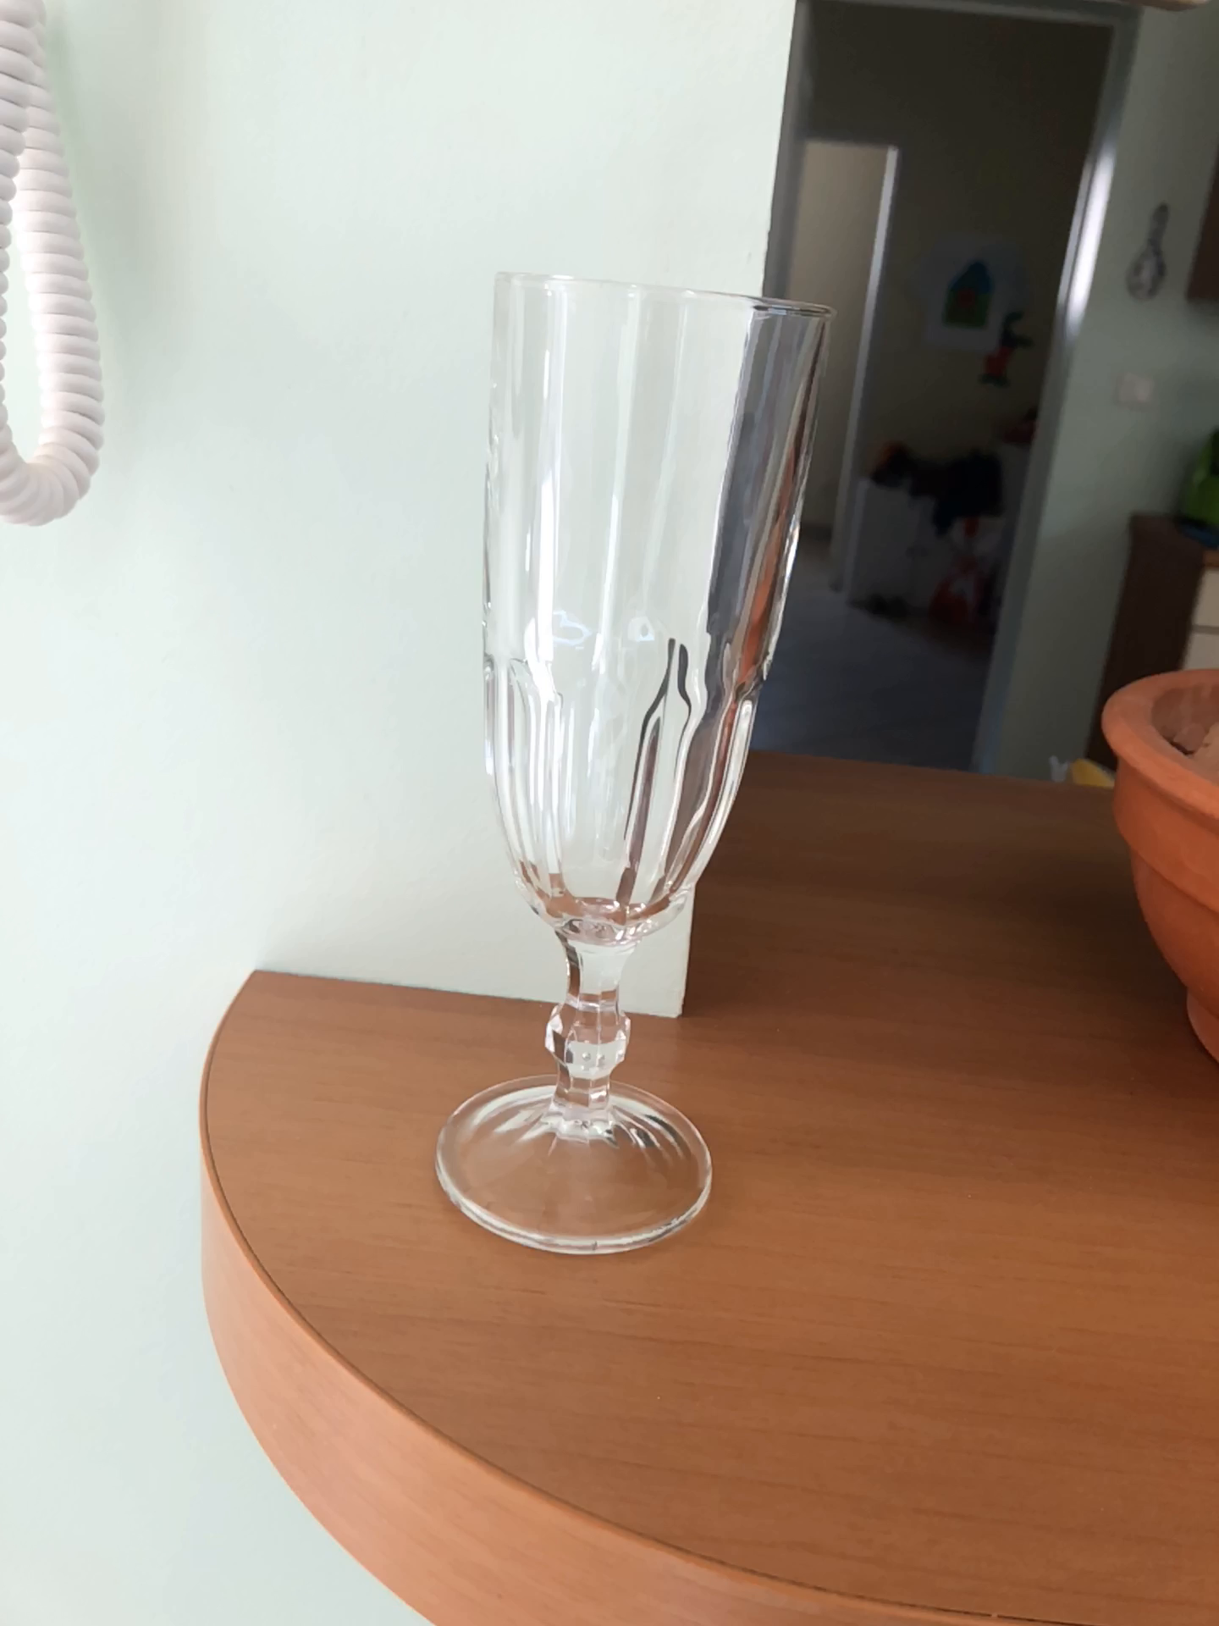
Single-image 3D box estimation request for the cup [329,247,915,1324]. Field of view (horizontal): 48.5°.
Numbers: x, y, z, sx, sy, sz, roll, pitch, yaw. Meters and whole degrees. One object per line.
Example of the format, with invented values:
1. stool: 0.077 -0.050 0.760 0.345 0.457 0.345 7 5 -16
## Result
1. cup: -0.003 -0.007 0.248 0.070 0.169 0.060 18 23 30
